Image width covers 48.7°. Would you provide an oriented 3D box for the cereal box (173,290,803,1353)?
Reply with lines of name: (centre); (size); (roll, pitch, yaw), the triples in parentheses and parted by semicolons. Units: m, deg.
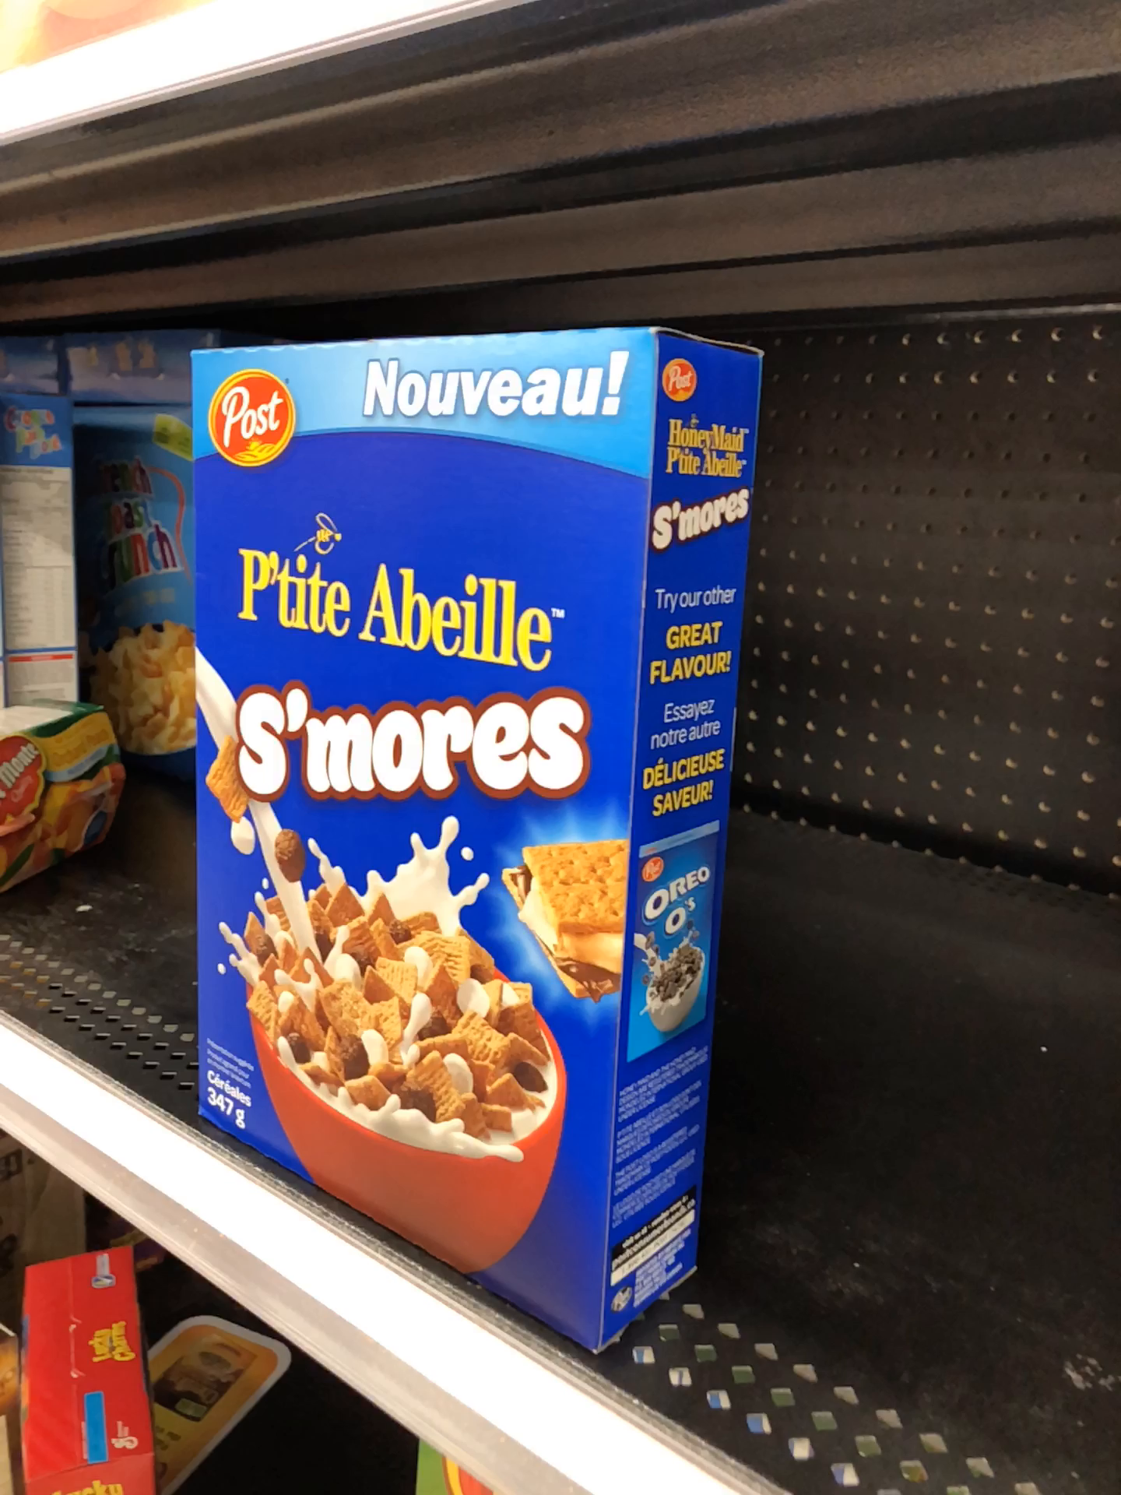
cereal box: (-0.037, 0.010, 0.399); (0.200, 0.279, 0.060); (11, 14, 37)
